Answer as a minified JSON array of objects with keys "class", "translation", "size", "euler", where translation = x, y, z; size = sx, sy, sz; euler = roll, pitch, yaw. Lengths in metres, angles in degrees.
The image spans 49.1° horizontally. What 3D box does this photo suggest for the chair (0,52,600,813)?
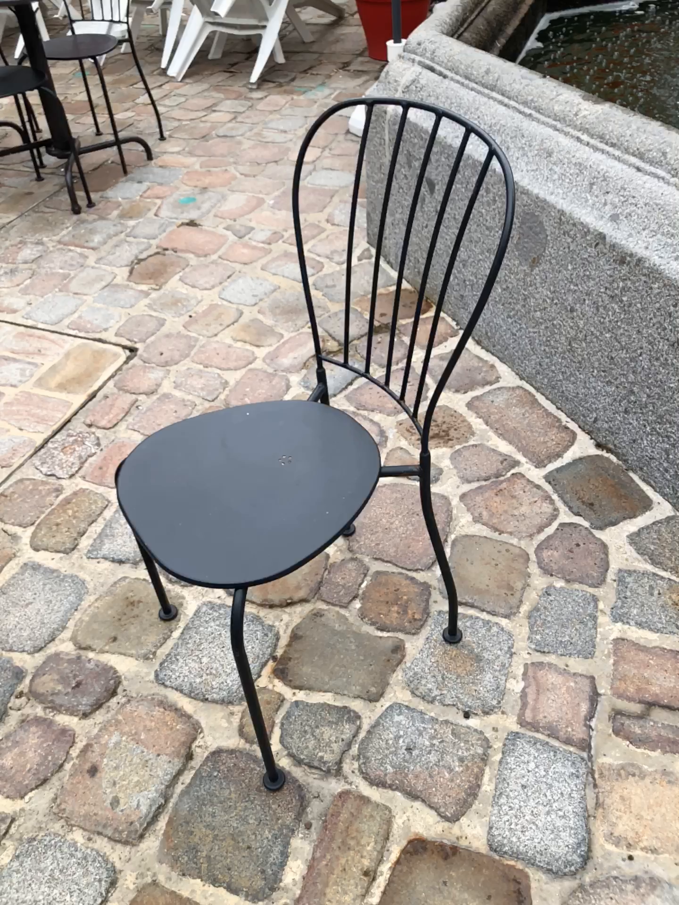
[{"class":"chair","translation":[-0.054,-0.007,0.987],"size":[0.472,0.795,0.421],"euler":[-26,47,-23]}]
